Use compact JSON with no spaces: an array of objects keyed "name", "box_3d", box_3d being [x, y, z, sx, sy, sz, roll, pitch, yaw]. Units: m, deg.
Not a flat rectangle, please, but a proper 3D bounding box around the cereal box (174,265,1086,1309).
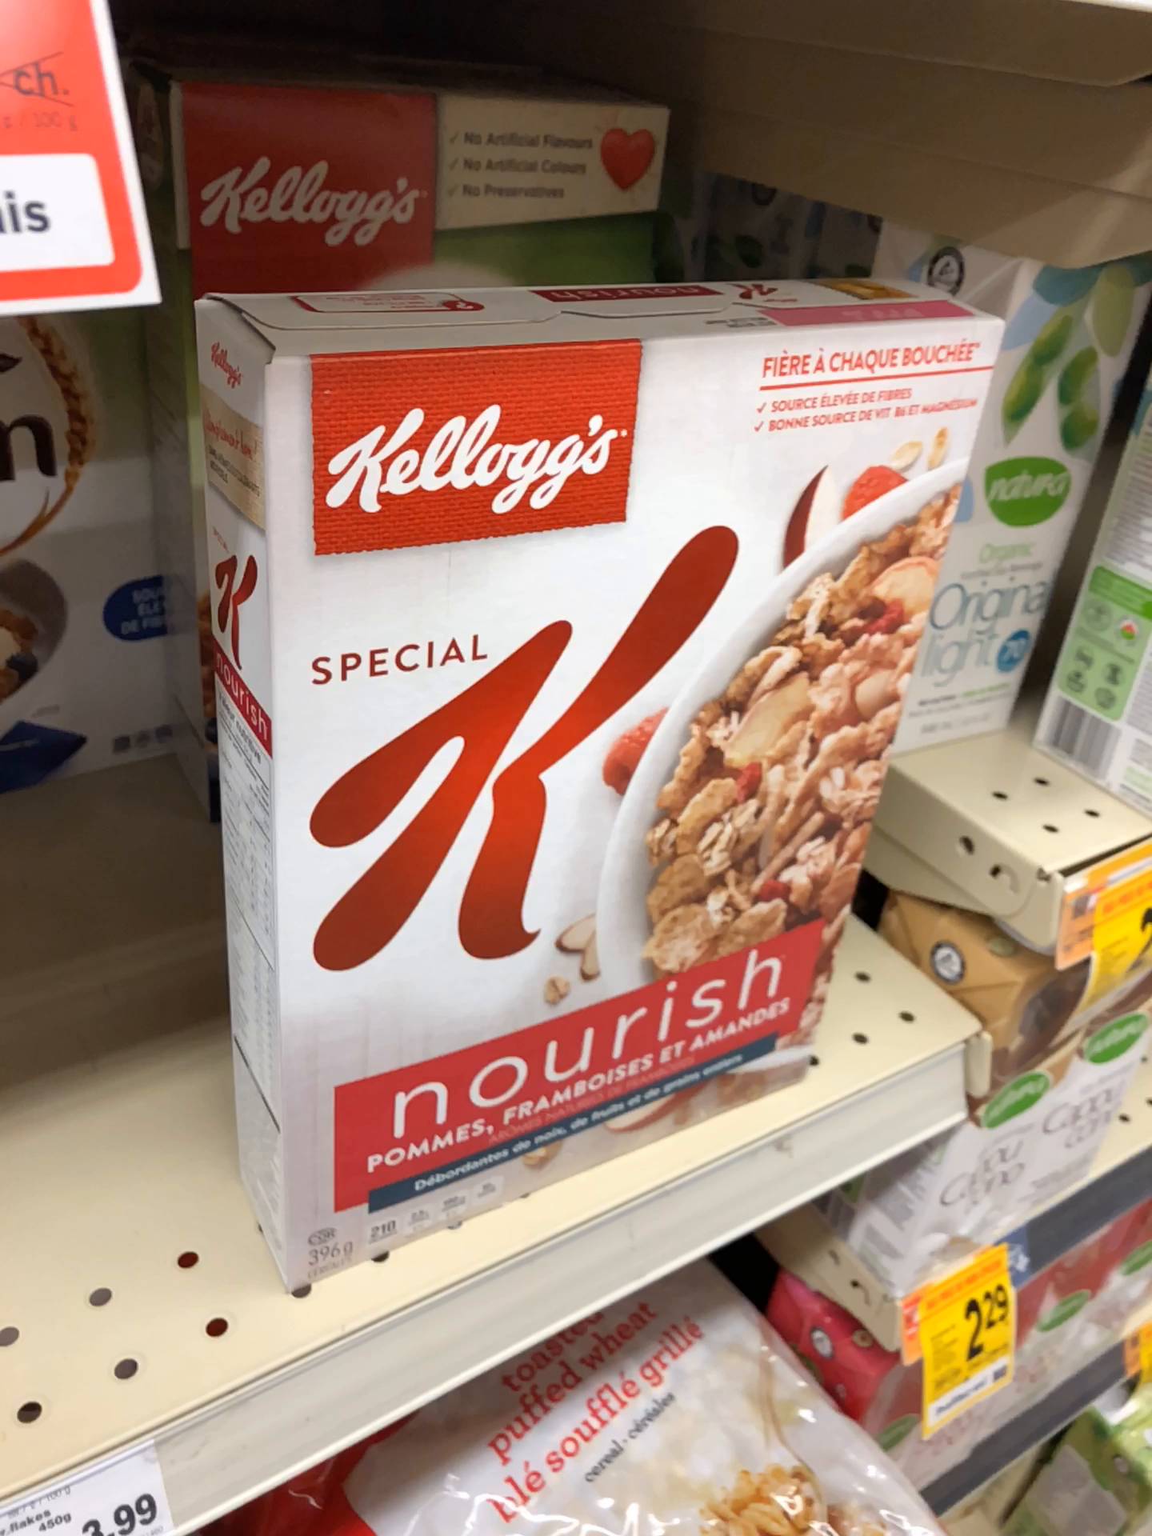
[{"name":"cereal box","box_3d":[0.008,0.002,0.343,0.200,0.248,0.060,-12,36,-29]}]
